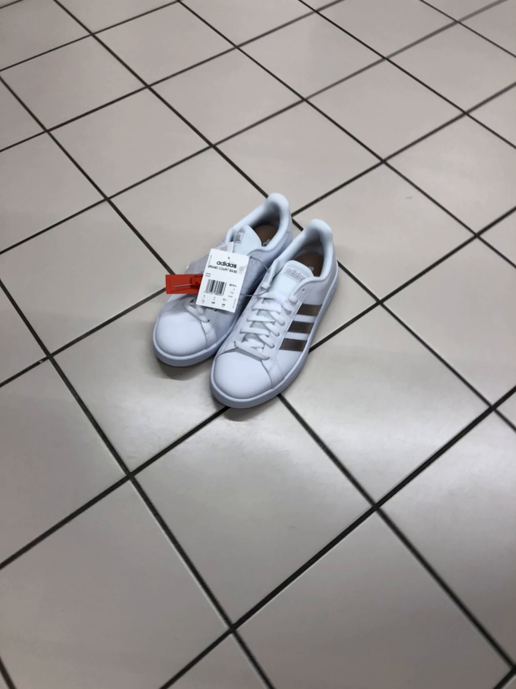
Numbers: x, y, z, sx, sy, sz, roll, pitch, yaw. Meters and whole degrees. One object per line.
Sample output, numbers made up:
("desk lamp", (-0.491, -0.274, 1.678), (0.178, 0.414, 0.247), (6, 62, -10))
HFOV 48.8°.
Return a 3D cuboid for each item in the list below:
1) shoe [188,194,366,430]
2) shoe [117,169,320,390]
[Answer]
("shoe", (0.032, -0.048, 0.725), (0.100, 0.100, 0.281), (24, 61, 13))
("shoe", (-0.041, -0.091, 0.745), (0.100, 0.100, 0.281), (31, 63, 17))
